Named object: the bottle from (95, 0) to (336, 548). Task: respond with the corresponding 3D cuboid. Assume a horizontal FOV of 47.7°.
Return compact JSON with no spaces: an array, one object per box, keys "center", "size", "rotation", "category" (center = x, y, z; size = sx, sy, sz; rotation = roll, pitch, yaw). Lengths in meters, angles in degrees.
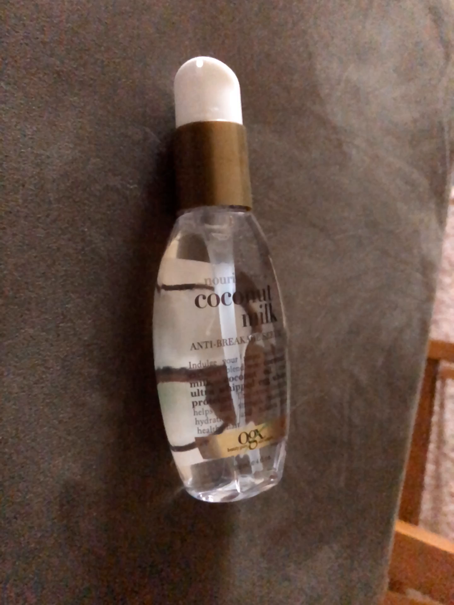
[{"center":[-0.001,-0.013,0.187],"size":[0.070,0.040,0.170],"rotation":[-5,94,-39],"category":"bottle"}]
